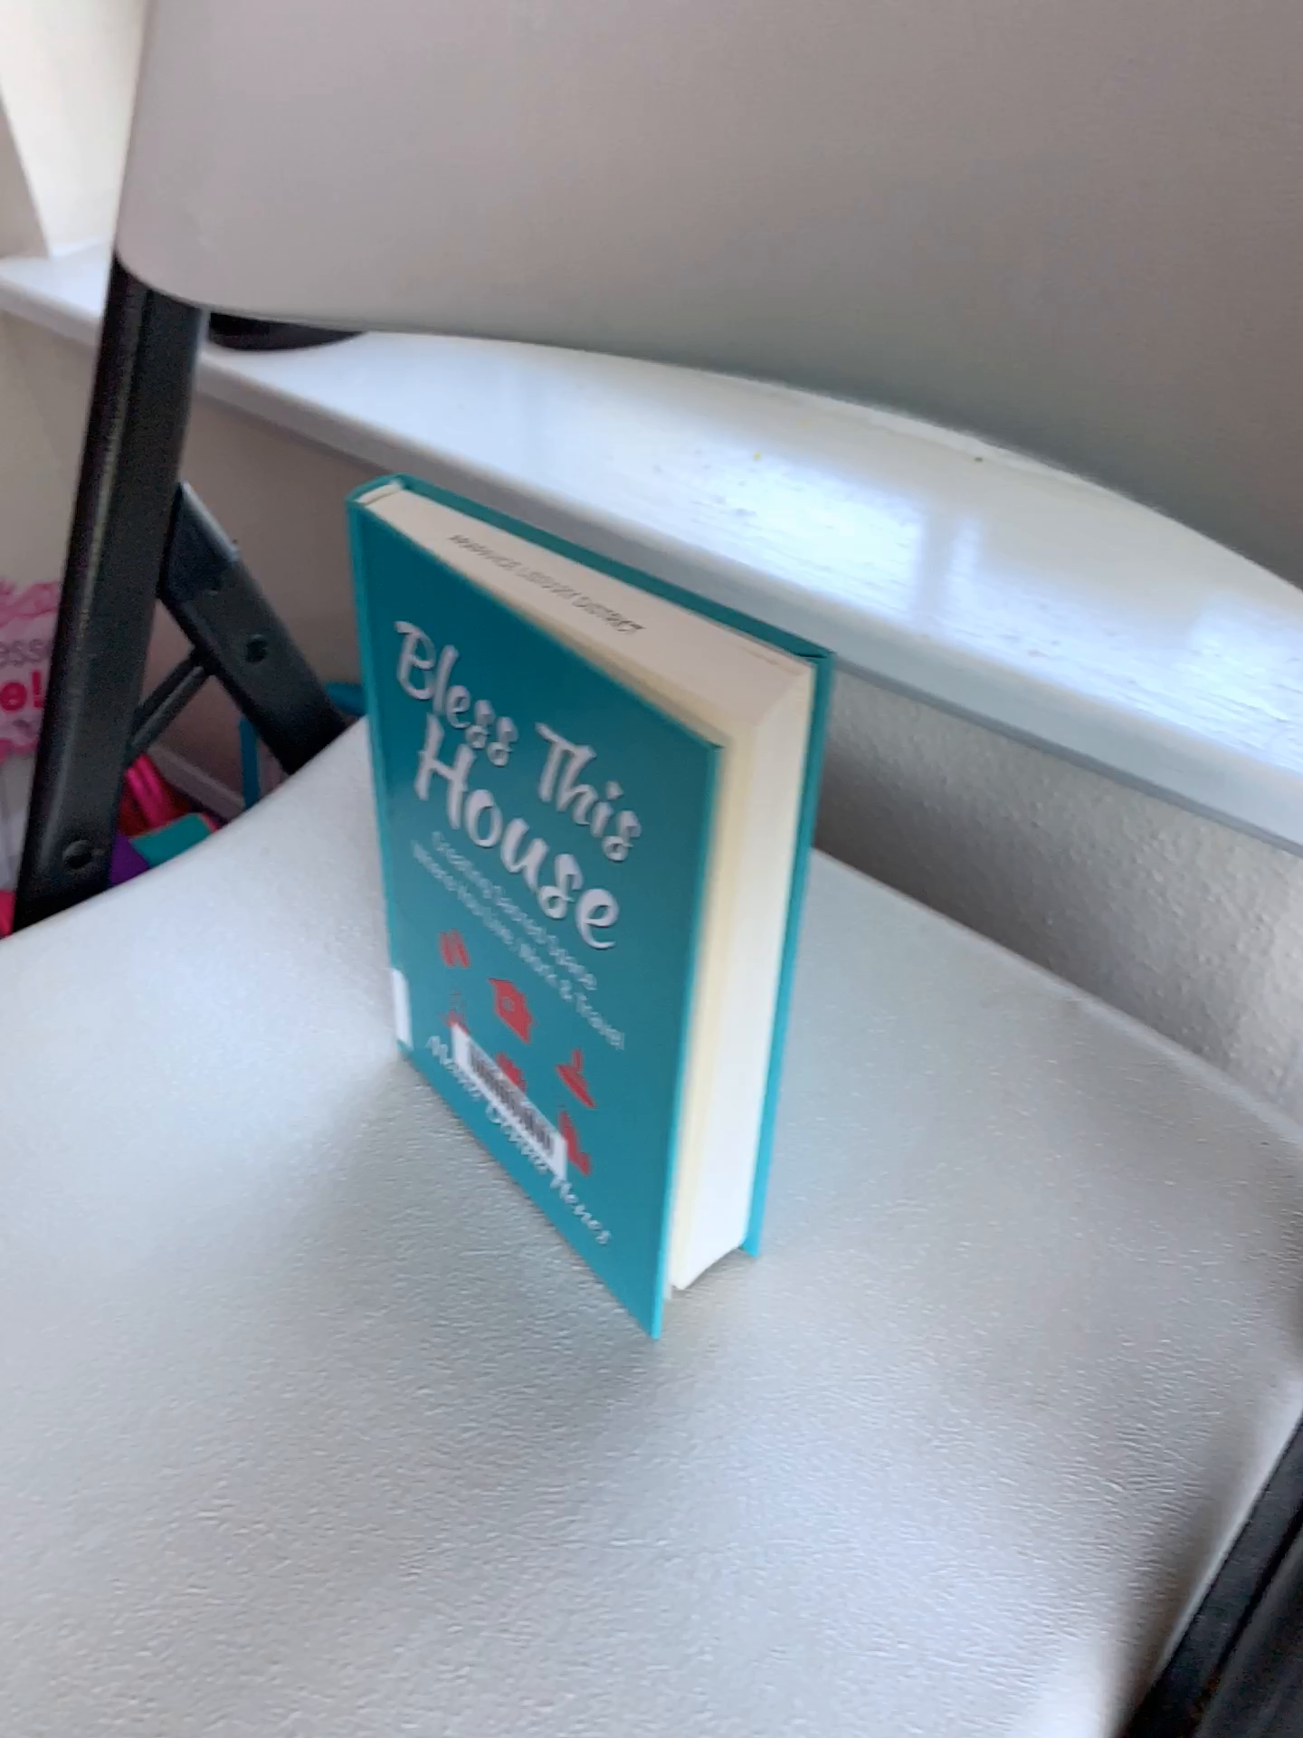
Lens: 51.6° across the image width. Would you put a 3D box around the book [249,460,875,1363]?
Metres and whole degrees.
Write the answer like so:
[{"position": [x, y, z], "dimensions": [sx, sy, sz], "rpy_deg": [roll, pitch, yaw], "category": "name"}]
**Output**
[{"position": [-0.029, 0.011, 0.340], "dimensions": [0.142, 0.181, 0.051], "rpy_deg": [32, 45, 33], "category": "book"}]
